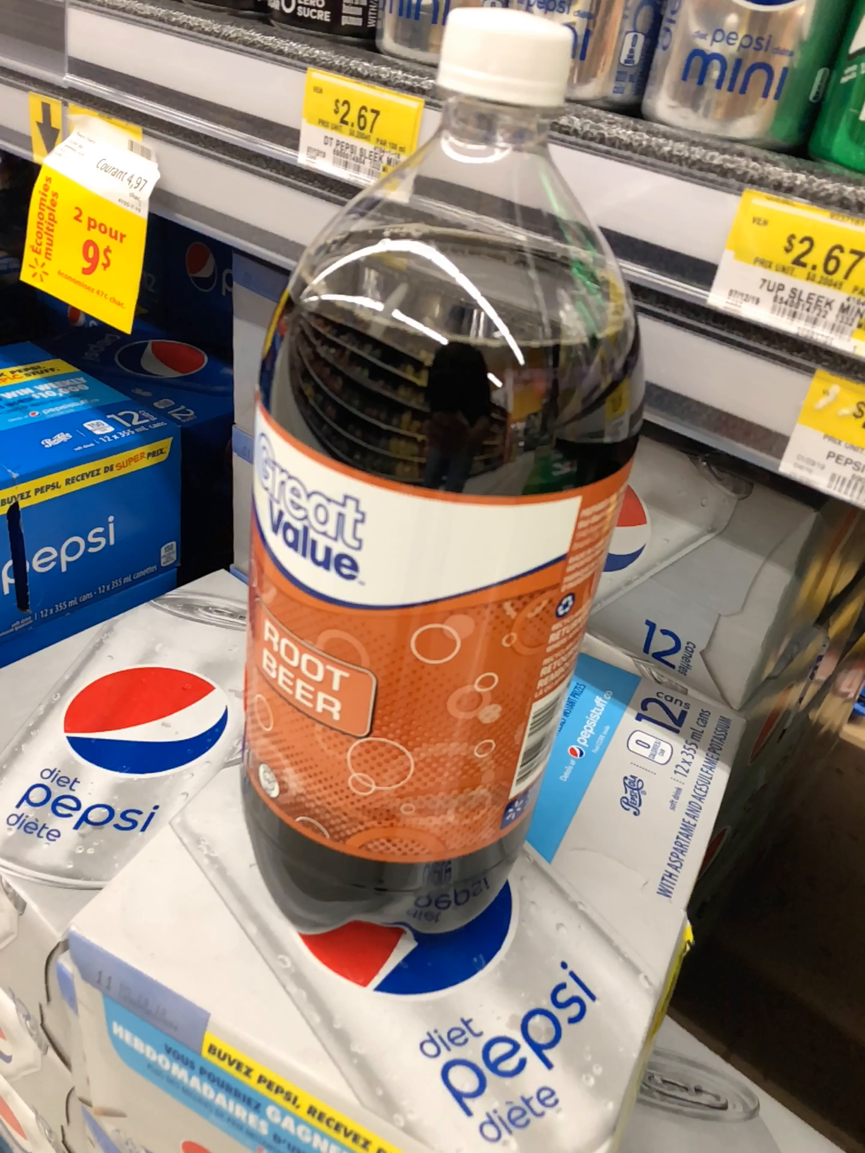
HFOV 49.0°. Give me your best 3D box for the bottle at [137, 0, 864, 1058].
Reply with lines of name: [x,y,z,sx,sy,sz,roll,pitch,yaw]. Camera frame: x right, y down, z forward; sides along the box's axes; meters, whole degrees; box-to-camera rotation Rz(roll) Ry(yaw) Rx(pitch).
bottle: [0.006,-0.013,0.283,0.120,0.268,0.121,6,34,-4]
